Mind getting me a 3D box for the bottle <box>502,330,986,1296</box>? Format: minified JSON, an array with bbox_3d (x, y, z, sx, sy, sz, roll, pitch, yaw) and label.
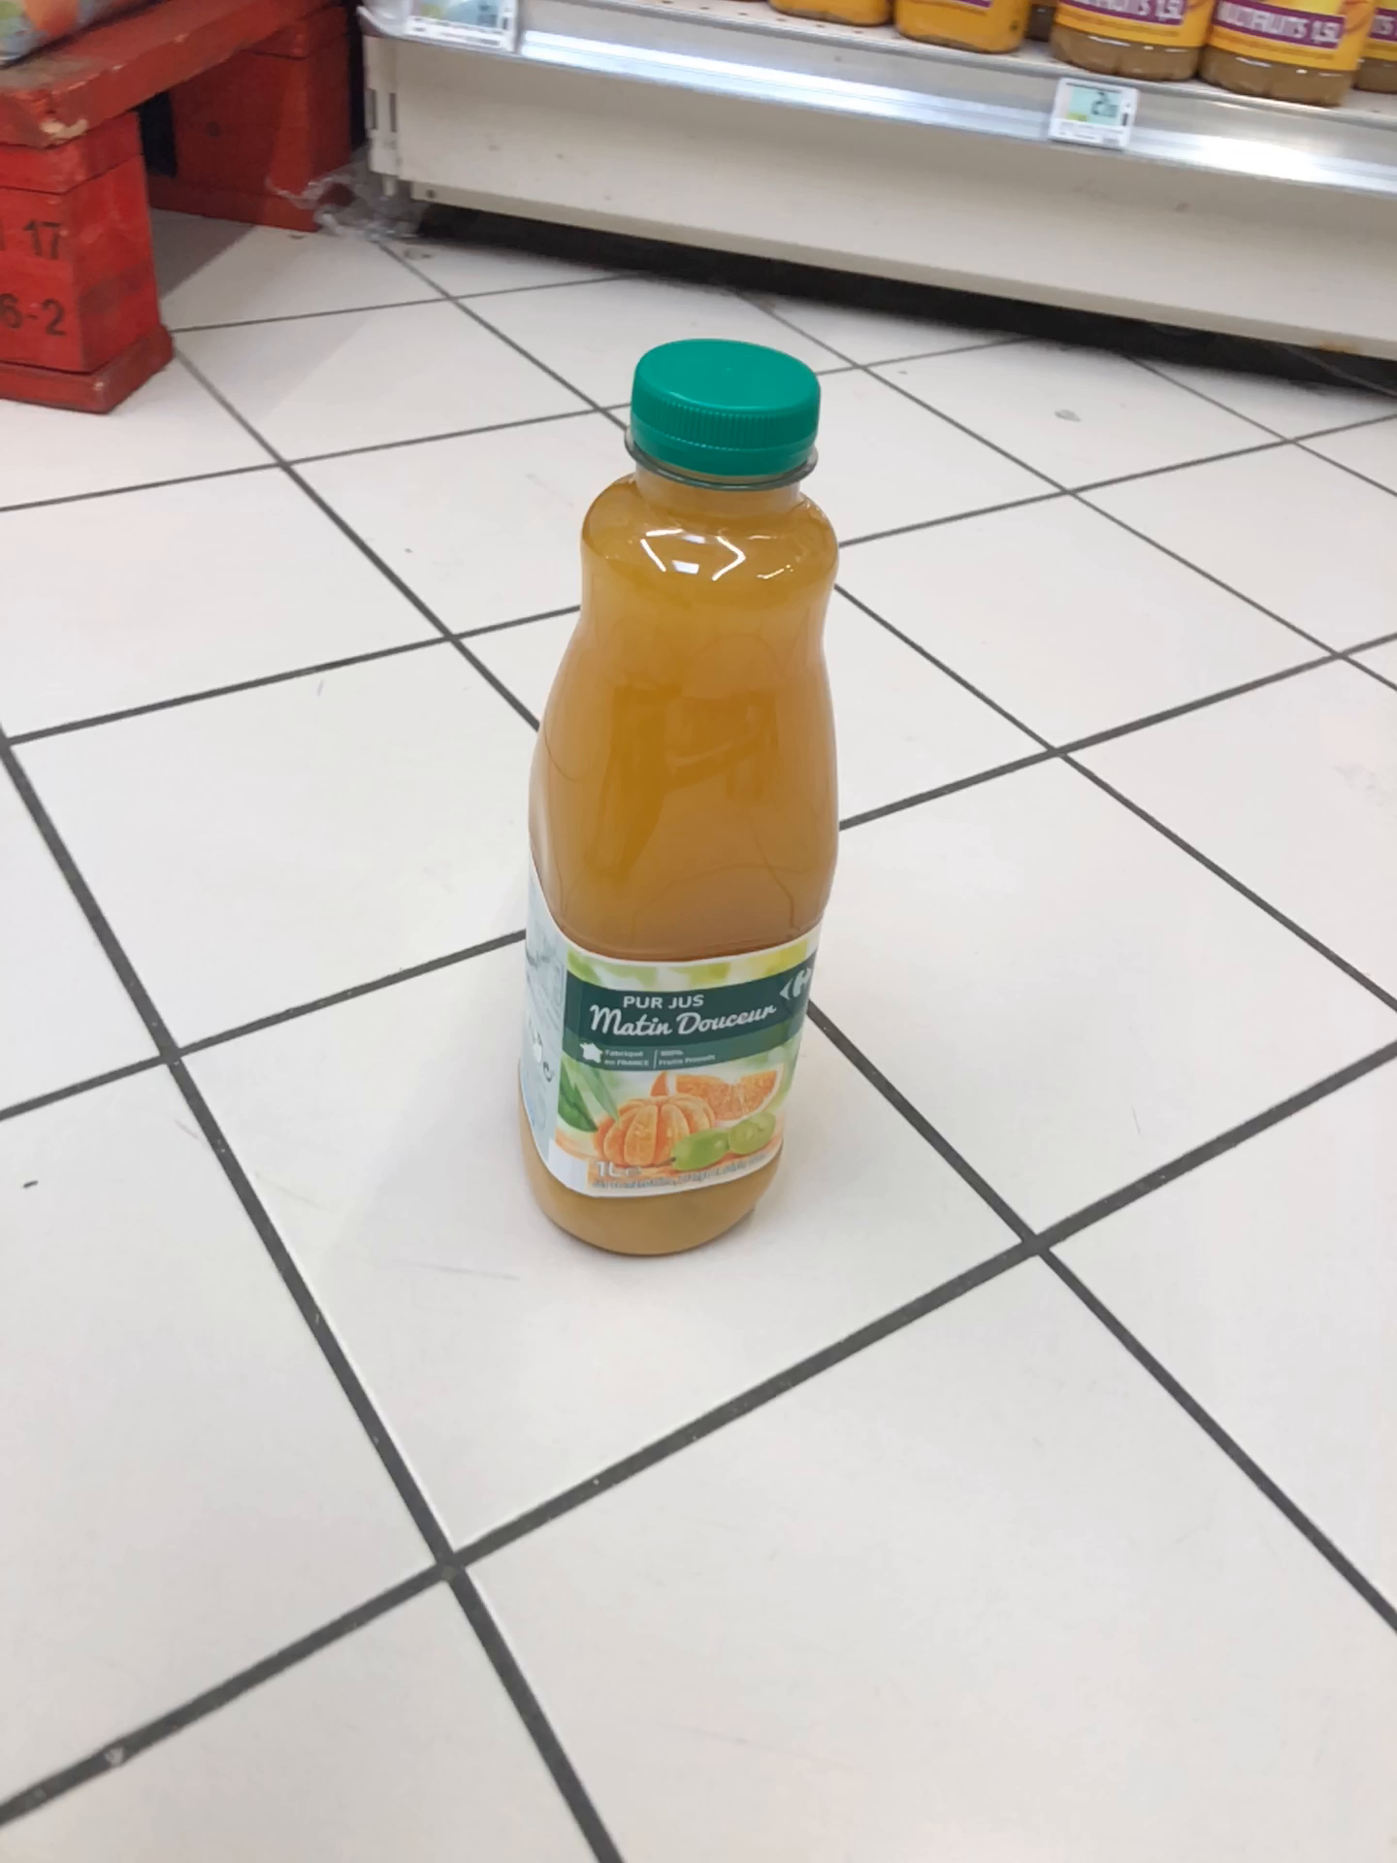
[{"bbox_3d":[-0.004,-0.020,0.403,0.080,0.239,0.090,-4,41,-14],"label":"bottle"}]
